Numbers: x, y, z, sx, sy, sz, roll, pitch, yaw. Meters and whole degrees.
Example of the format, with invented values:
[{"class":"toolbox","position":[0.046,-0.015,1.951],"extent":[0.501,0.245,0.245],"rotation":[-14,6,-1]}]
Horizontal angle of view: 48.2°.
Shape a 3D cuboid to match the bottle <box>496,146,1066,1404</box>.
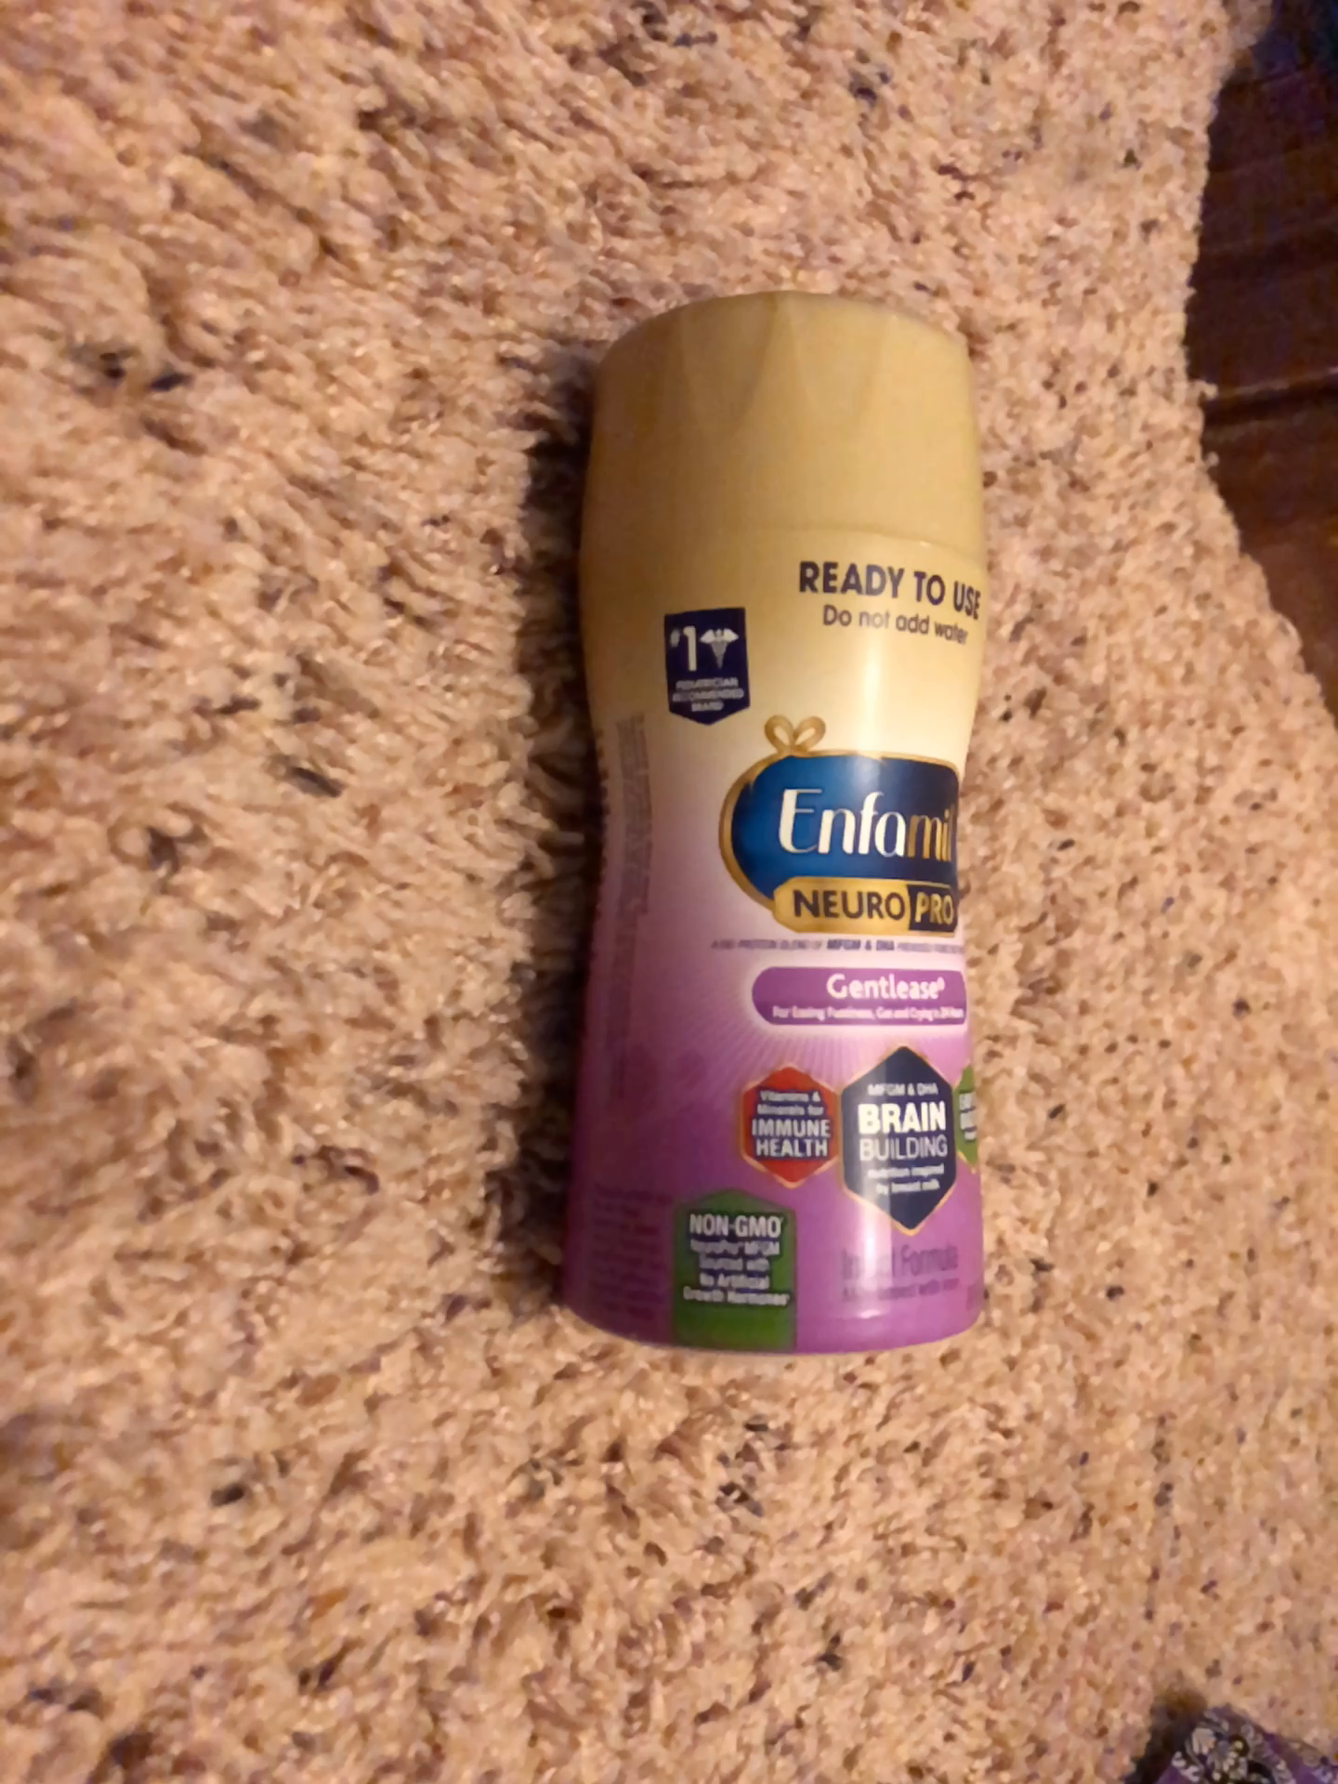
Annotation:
[{"class":"bottle","position":[0.013,-0.013,0.215],"extent":[0.060,0.060,0.150],"rotation":[3,88,-16]}]
